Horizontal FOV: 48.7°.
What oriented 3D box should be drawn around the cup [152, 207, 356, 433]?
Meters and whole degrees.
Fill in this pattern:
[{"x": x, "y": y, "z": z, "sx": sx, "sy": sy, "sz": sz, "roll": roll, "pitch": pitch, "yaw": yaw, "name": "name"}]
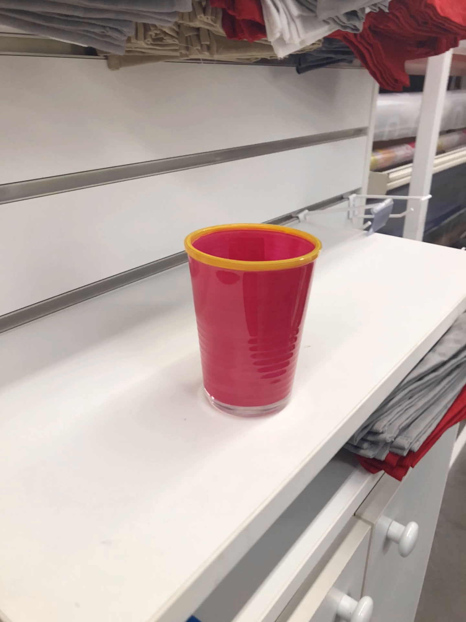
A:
[{"x": 0.012, "y": -0.002, "z": 0.309, "sx": 0.079, "sy": 0.094, "sz": 0.085, "roll": 1, "pitch": 24, "yaw": 0, "name": "cup"}]
